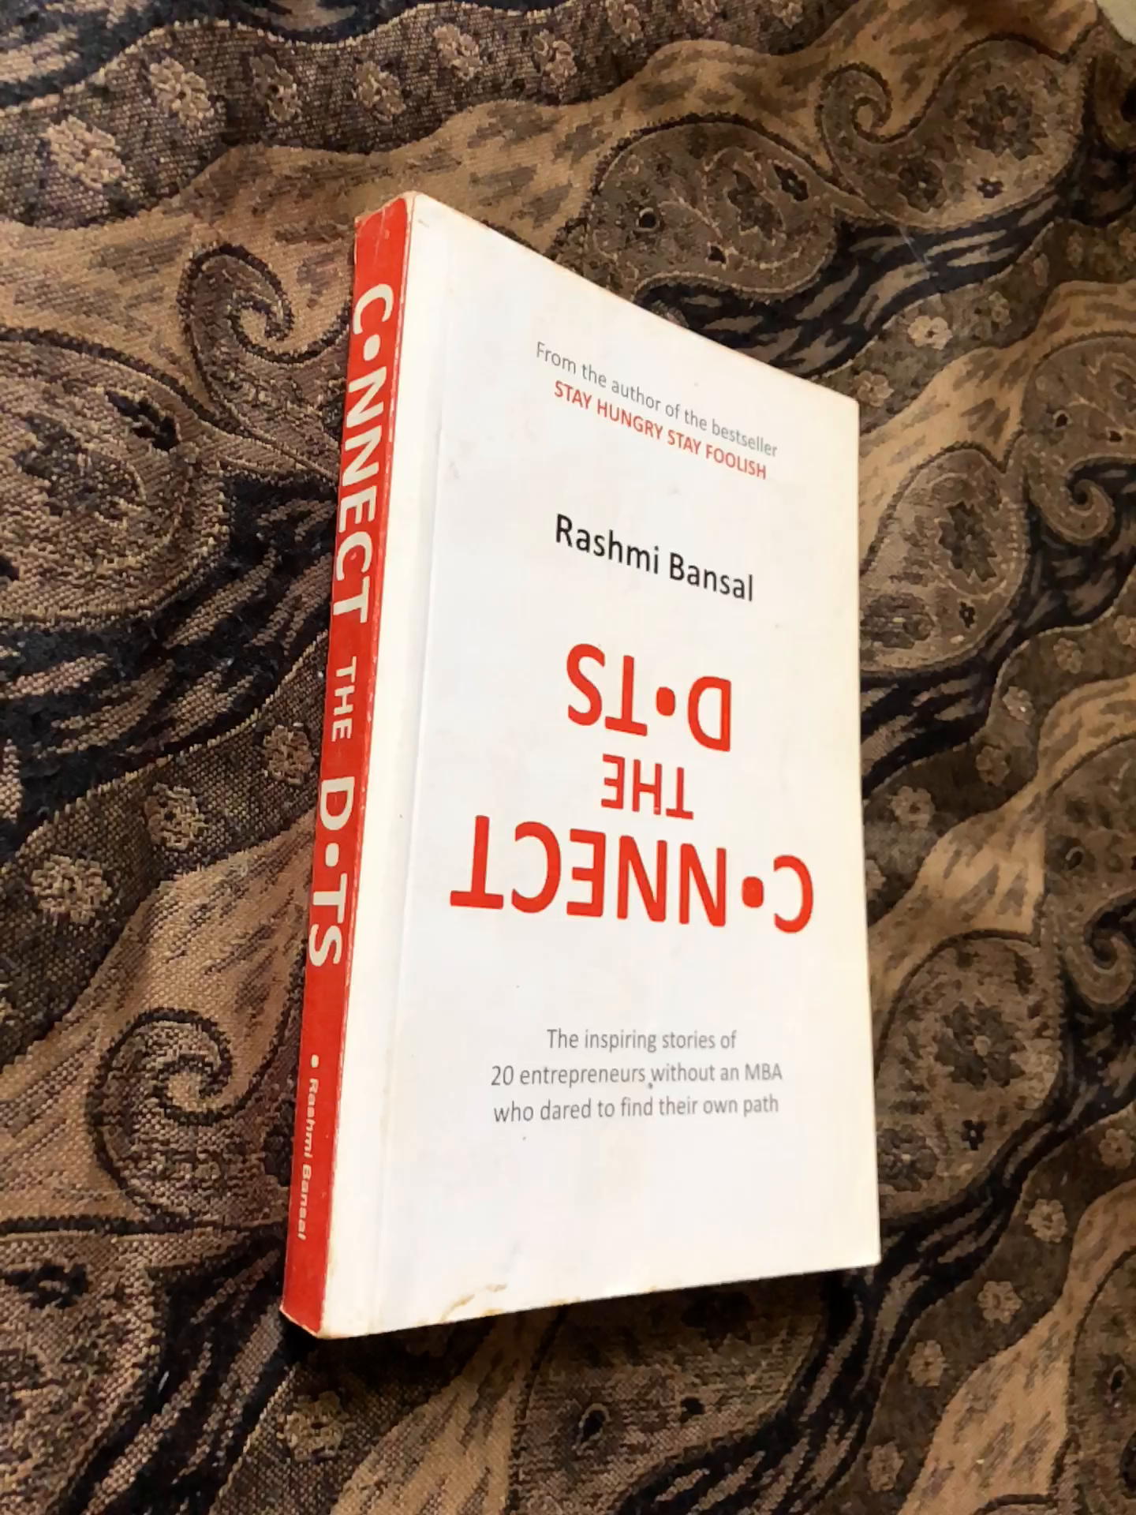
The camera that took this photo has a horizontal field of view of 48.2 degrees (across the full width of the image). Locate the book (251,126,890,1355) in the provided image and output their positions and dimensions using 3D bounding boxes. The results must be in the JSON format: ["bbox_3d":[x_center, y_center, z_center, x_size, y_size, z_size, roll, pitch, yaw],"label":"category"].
[{"bbox_3d":[0.009,-0.002,0.276,0.131,0.040,0.220,9,78,-35],"label":"book"}]
